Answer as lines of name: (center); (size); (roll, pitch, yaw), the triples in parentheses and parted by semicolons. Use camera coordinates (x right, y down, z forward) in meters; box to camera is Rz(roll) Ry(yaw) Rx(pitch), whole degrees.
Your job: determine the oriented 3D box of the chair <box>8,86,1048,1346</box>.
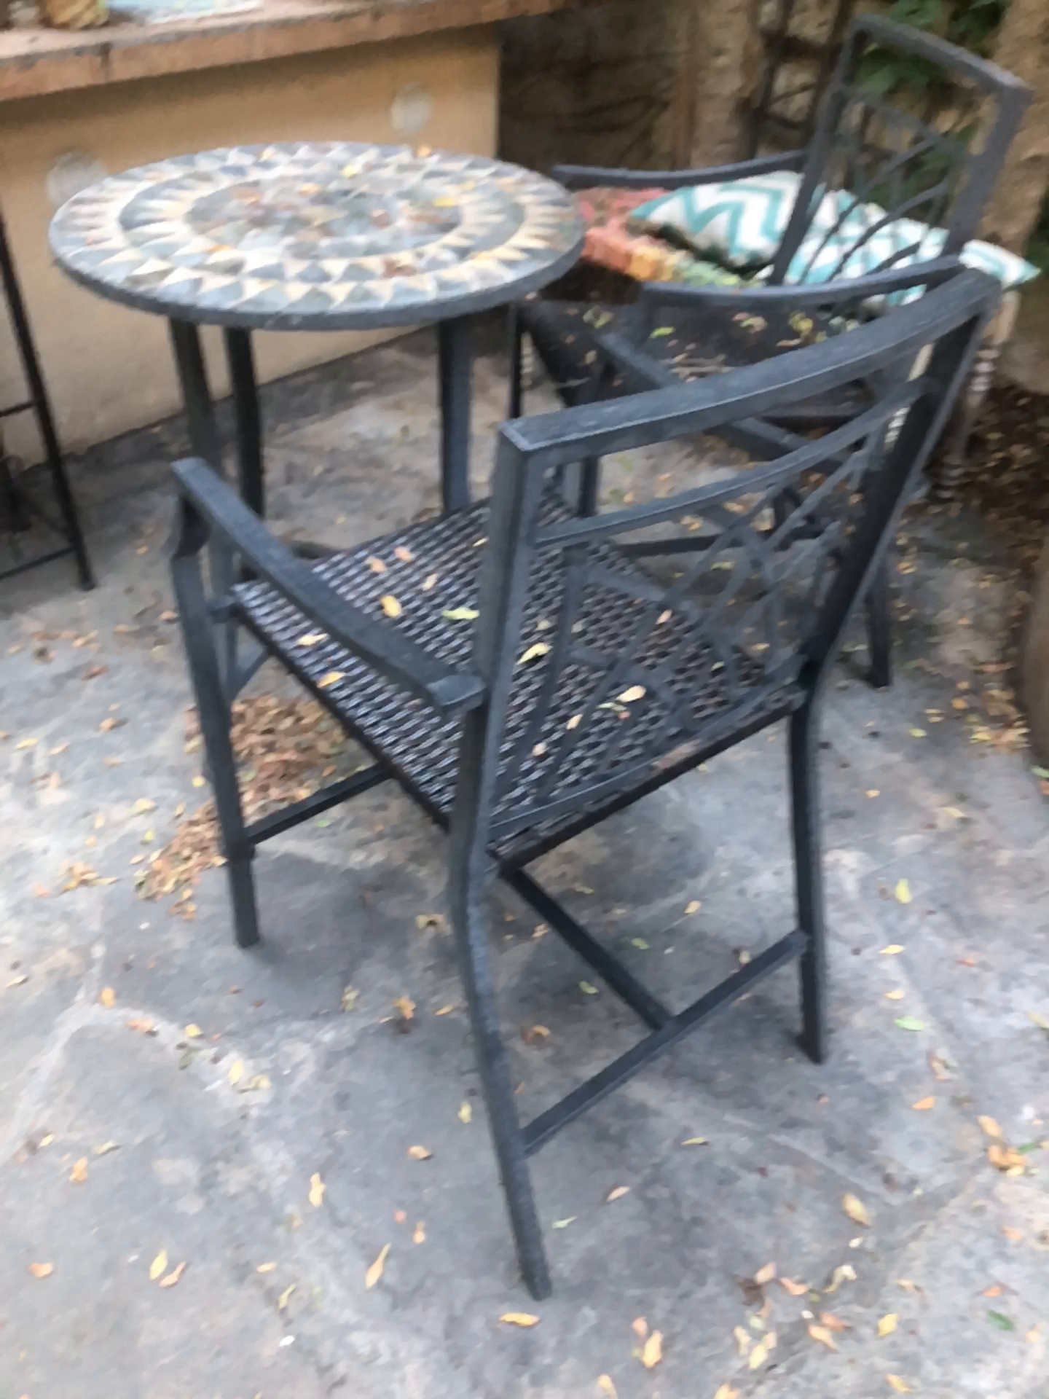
chair: (0.040, -0.026, 1.214); (0.684, 0.912, 0.692); (-26, 47, -29)
